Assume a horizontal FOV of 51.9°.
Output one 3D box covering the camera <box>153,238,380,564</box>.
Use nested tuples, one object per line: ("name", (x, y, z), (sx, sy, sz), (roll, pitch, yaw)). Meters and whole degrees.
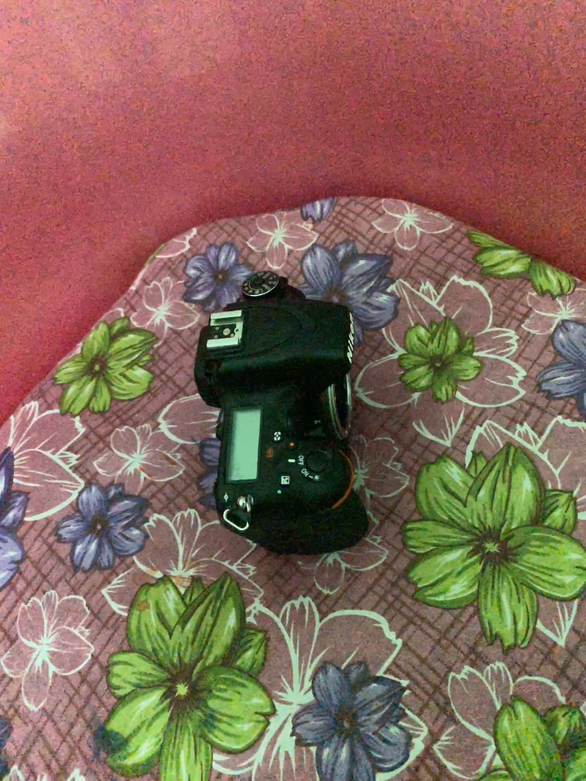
("camera", (-0.006, 0.010, 0.313), (0.092, 0.090, 0.140), (-3, 64, 7))
